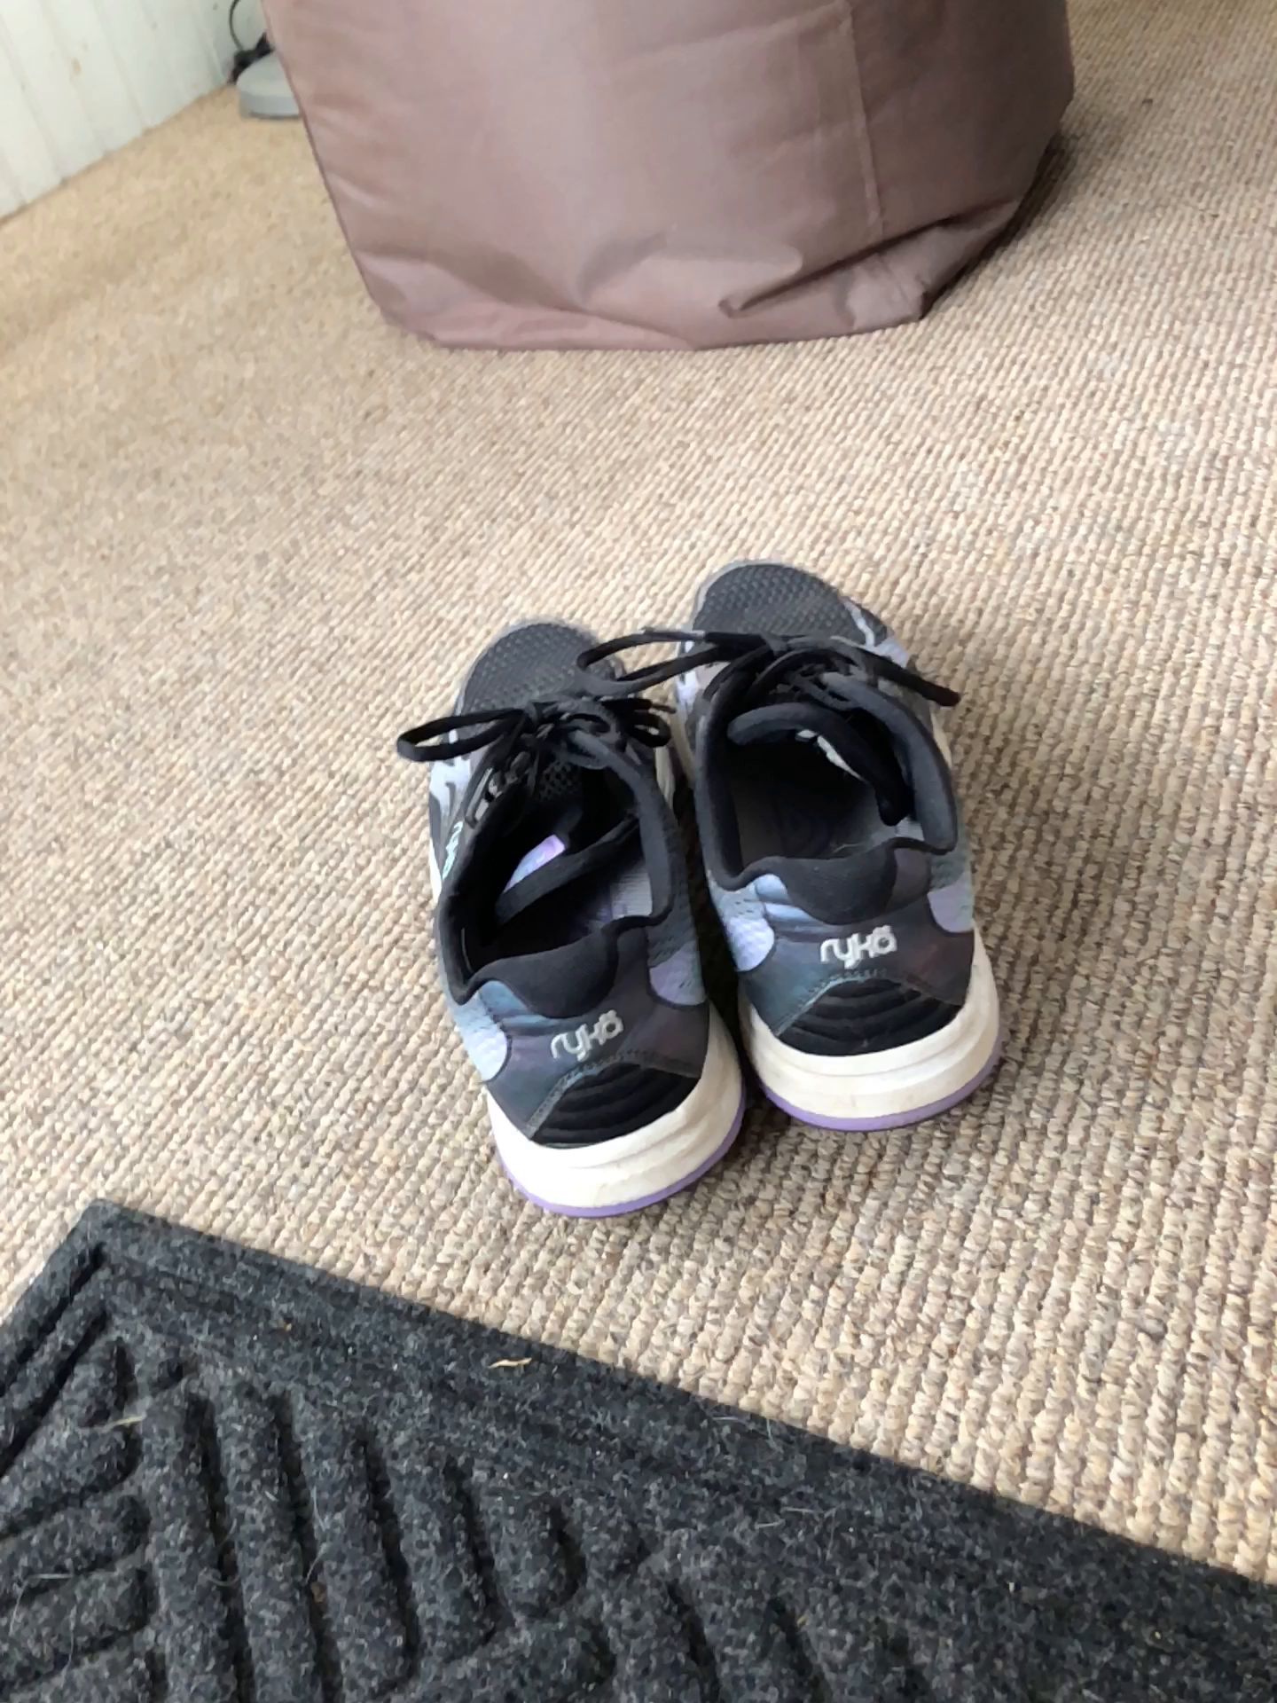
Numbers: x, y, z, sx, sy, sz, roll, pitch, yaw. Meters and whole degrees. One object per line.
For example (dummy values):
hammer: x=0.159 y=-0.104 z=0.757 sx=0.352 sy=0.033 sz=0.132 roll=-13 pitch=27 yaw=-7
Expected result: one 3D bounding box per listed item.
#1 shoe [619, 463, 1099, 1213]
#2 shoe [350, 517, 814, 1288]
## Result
shoe: x=0.065 y=-0.021 z=0.498 sx=0.102 sy=0.103 sz=0.258 roll=-12 pitch=42 yaw=3
shoe: x=-0.030 y=0.001 z=0.500 sx=0.110 sy=0.103 sz=0.258 roll=-14 pitch=42 yaw=0
